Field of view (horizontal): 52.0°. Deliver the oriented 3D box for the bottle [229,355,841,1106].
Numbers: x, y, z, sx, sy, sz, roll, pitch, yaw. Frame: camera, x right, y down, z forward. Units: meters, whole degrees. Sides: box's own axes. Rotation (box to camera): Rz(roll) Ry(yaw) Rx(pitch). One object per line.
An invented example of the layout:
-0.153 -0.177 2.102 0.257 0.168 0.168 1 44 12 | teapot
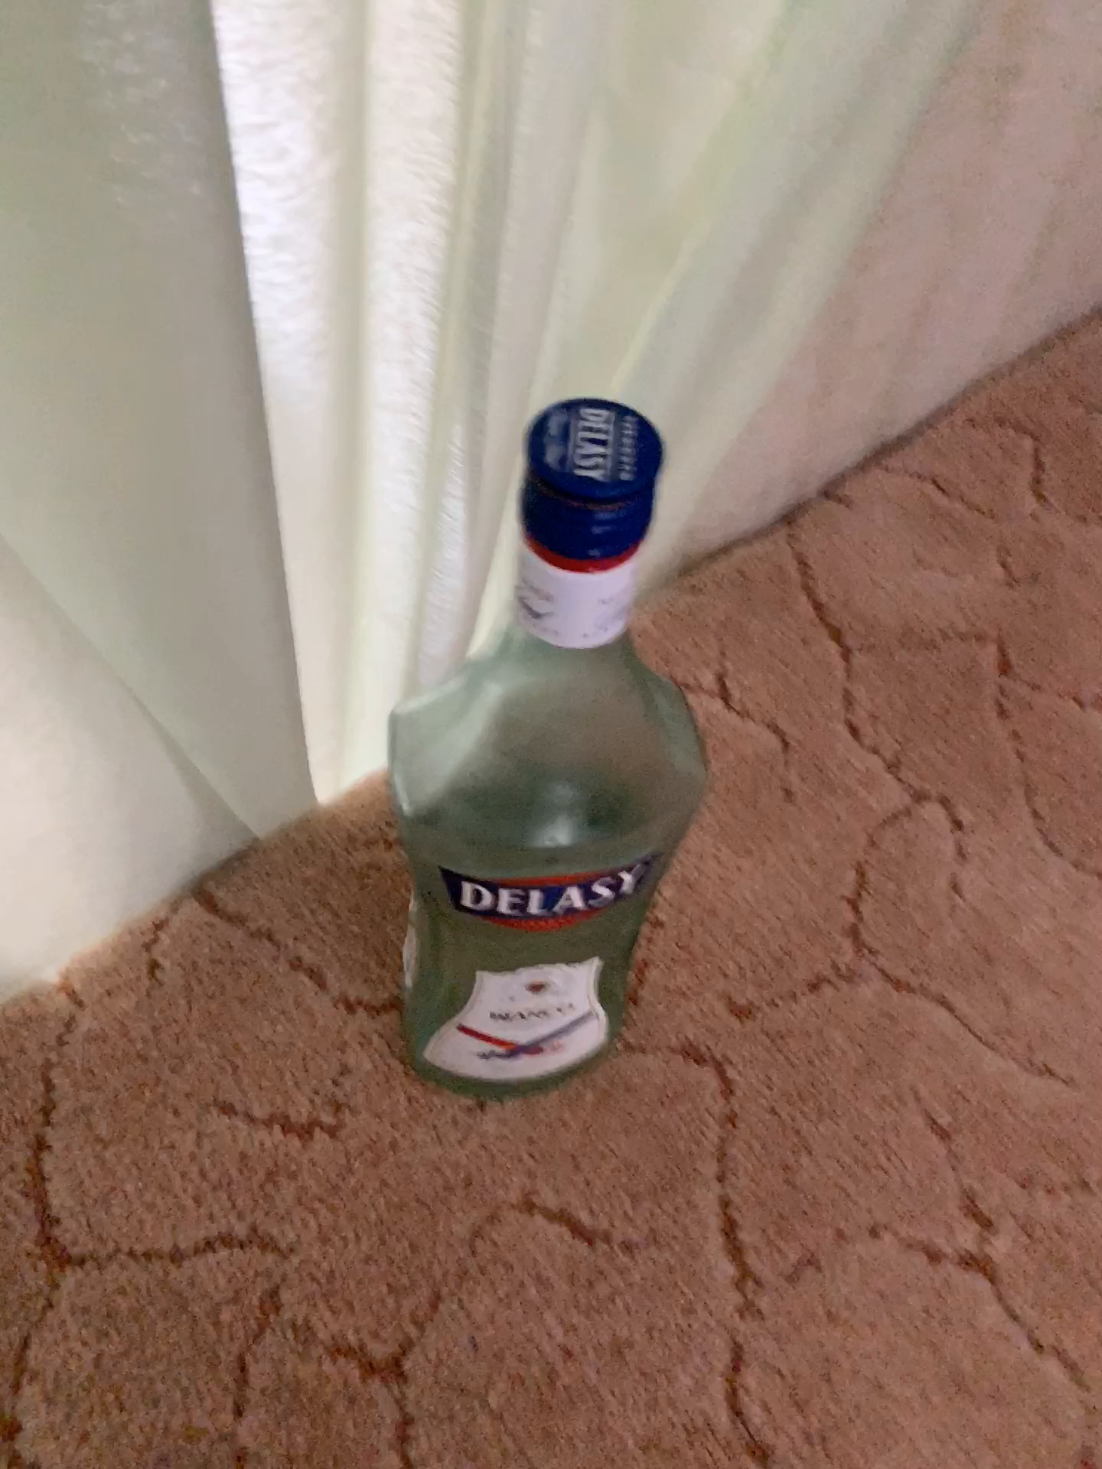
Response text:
-0.012 0.037 0.355 0.110 0.327 0.060 -2 57 -5 | bottle
